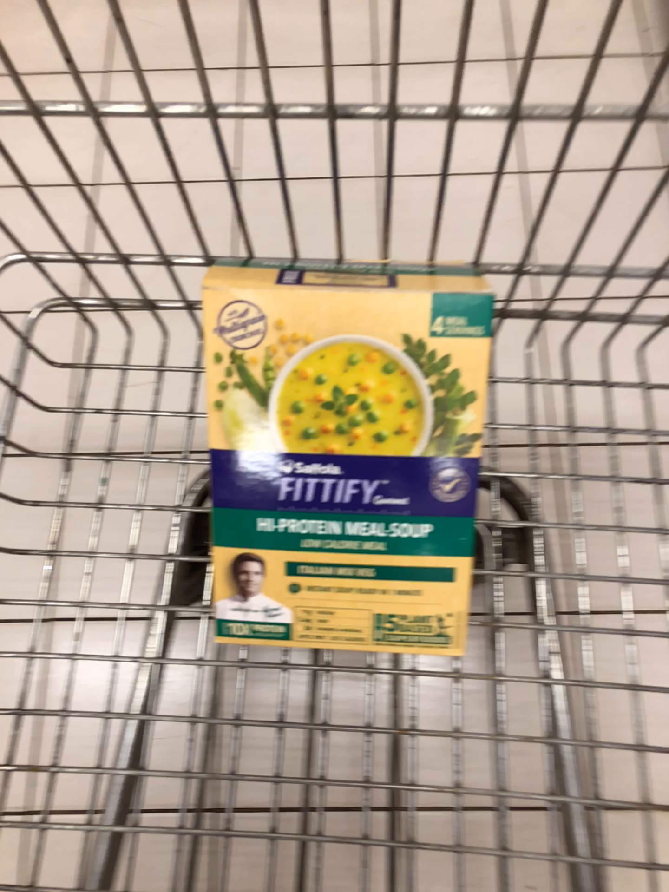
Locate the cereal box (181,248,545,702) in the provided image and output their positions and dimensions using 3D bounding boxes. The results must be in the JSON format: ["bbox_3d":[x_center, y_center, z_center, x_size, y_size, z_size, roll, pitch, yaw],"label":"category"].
[{"bbox_3d":[0.009,0.007,0.332,0.130,0.090,0.180,2,107,2],"label":"cereal box"}]
